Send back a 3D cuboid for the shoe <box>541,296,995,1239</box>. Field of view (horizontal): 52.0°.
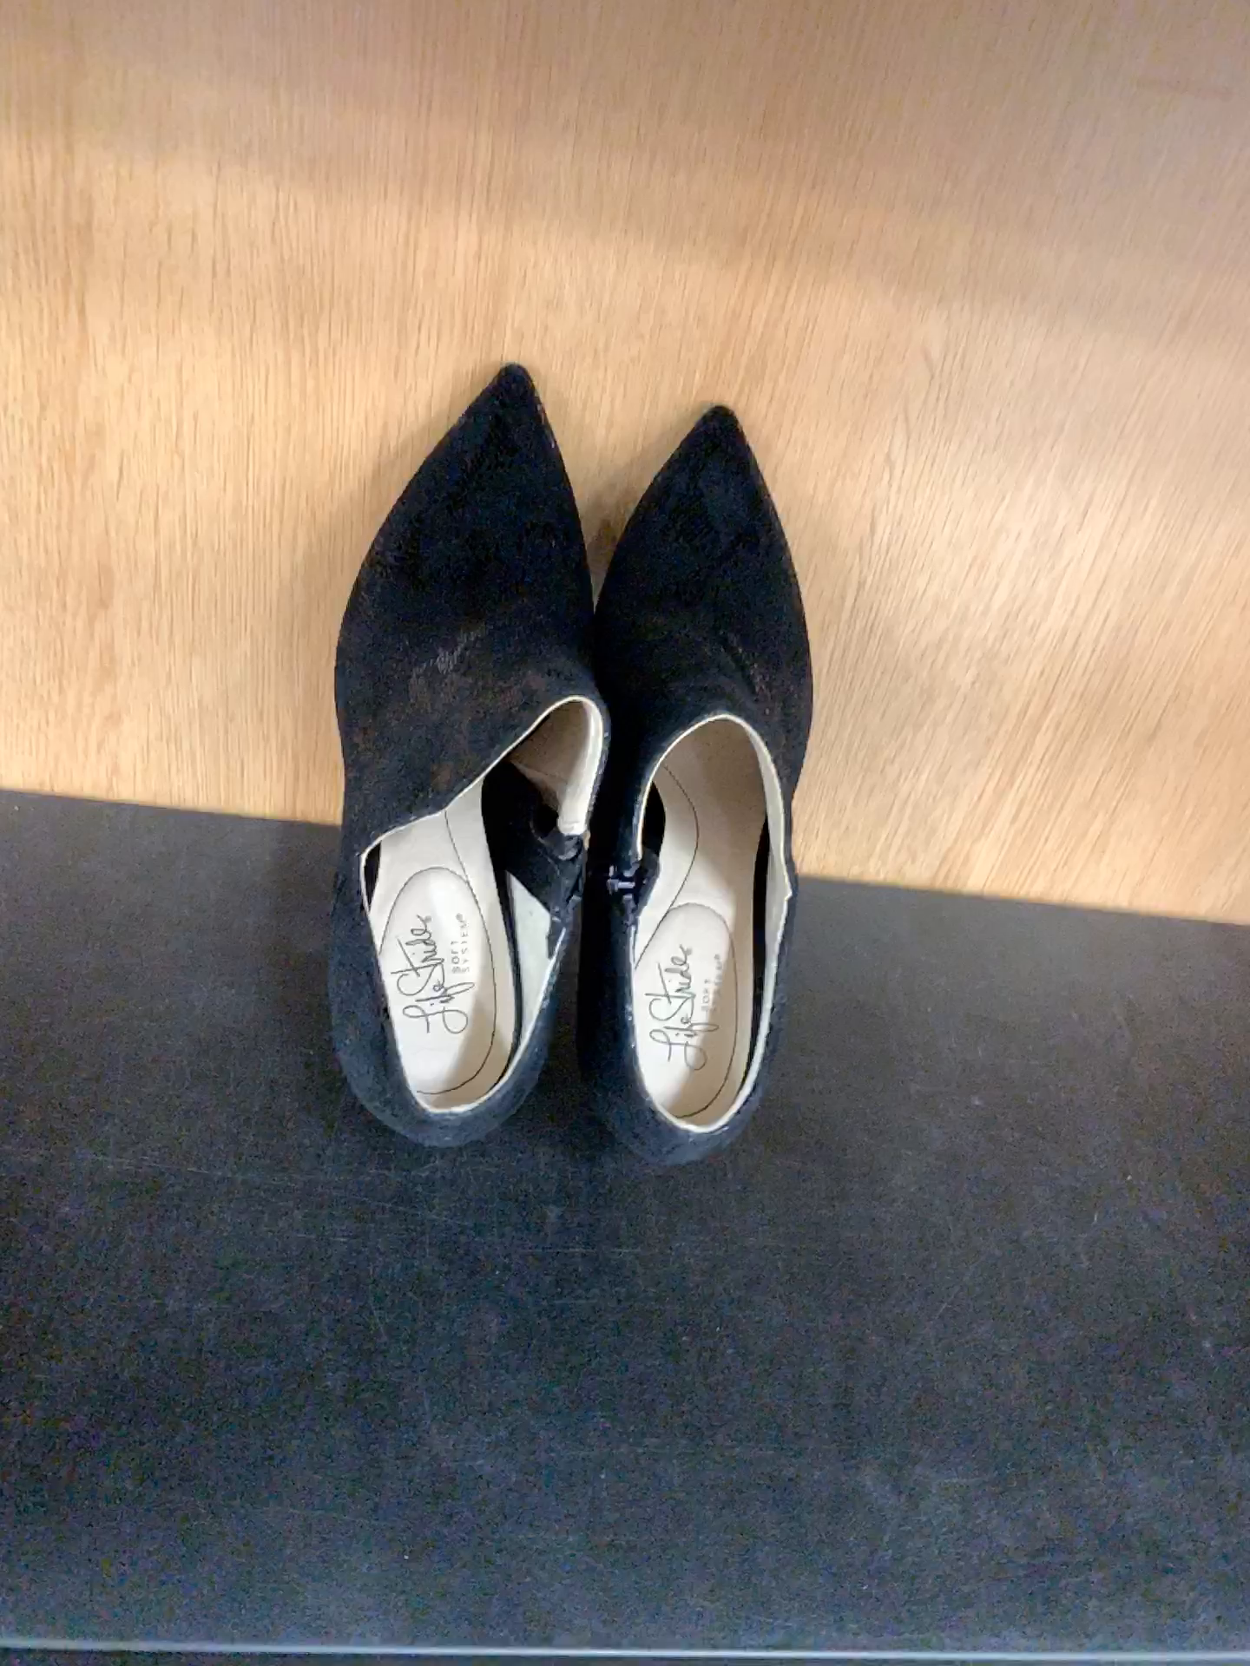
[{"bbox_3d":[0.046,-0.020,0.452,0.111,0.280,0.120,6,-4,1],"label":"shoe"}]

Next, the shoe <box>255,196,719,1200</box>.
[{"bbox_3d":[-0.047,-0.035,0.424,0.101,0.270,0.140,6,-4,-9],"label":"shoe"}]
